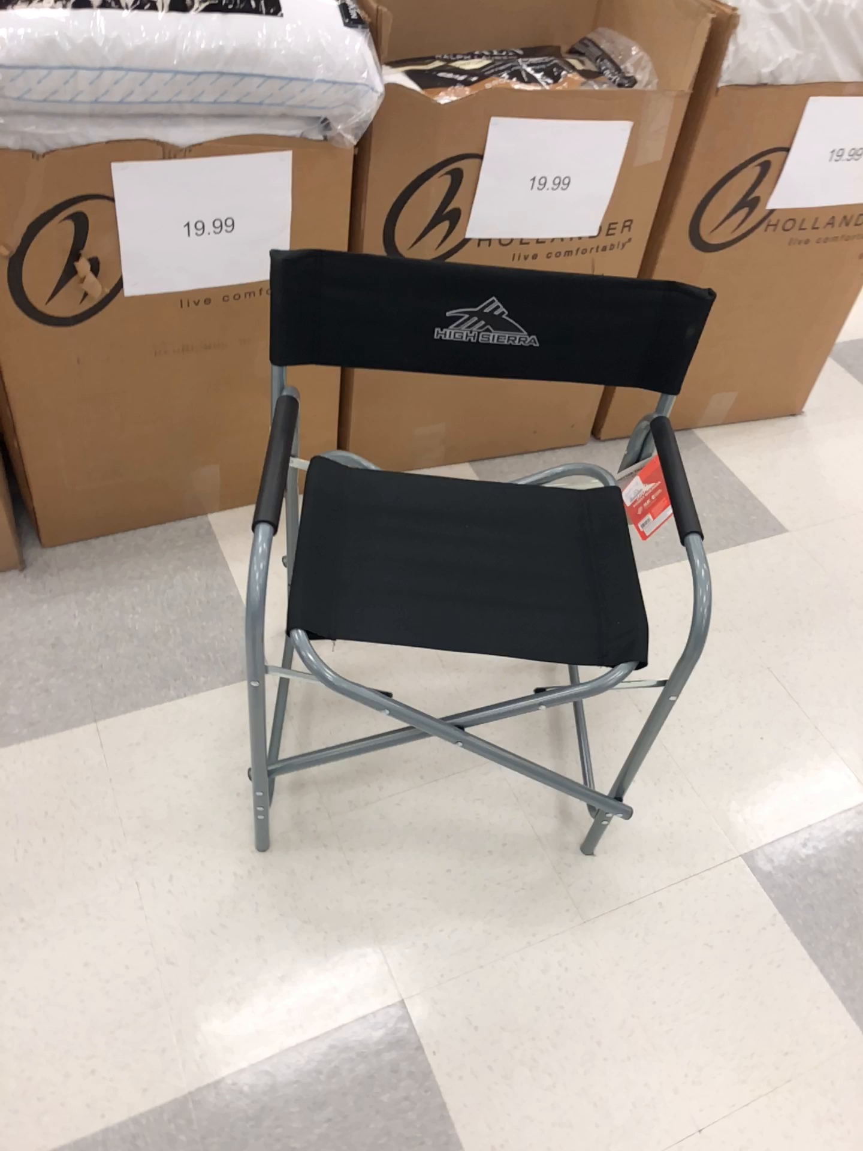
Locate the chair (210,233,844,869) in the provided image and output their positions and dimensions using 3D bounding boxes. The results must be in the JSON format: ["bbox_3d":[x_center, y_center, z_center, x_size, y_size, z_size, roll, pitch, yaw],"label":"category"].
[{"bbox_3d":[0.056,0.006,1.350,0.624,0.736,0.500,3,46,-6],"label":"chair"}]
